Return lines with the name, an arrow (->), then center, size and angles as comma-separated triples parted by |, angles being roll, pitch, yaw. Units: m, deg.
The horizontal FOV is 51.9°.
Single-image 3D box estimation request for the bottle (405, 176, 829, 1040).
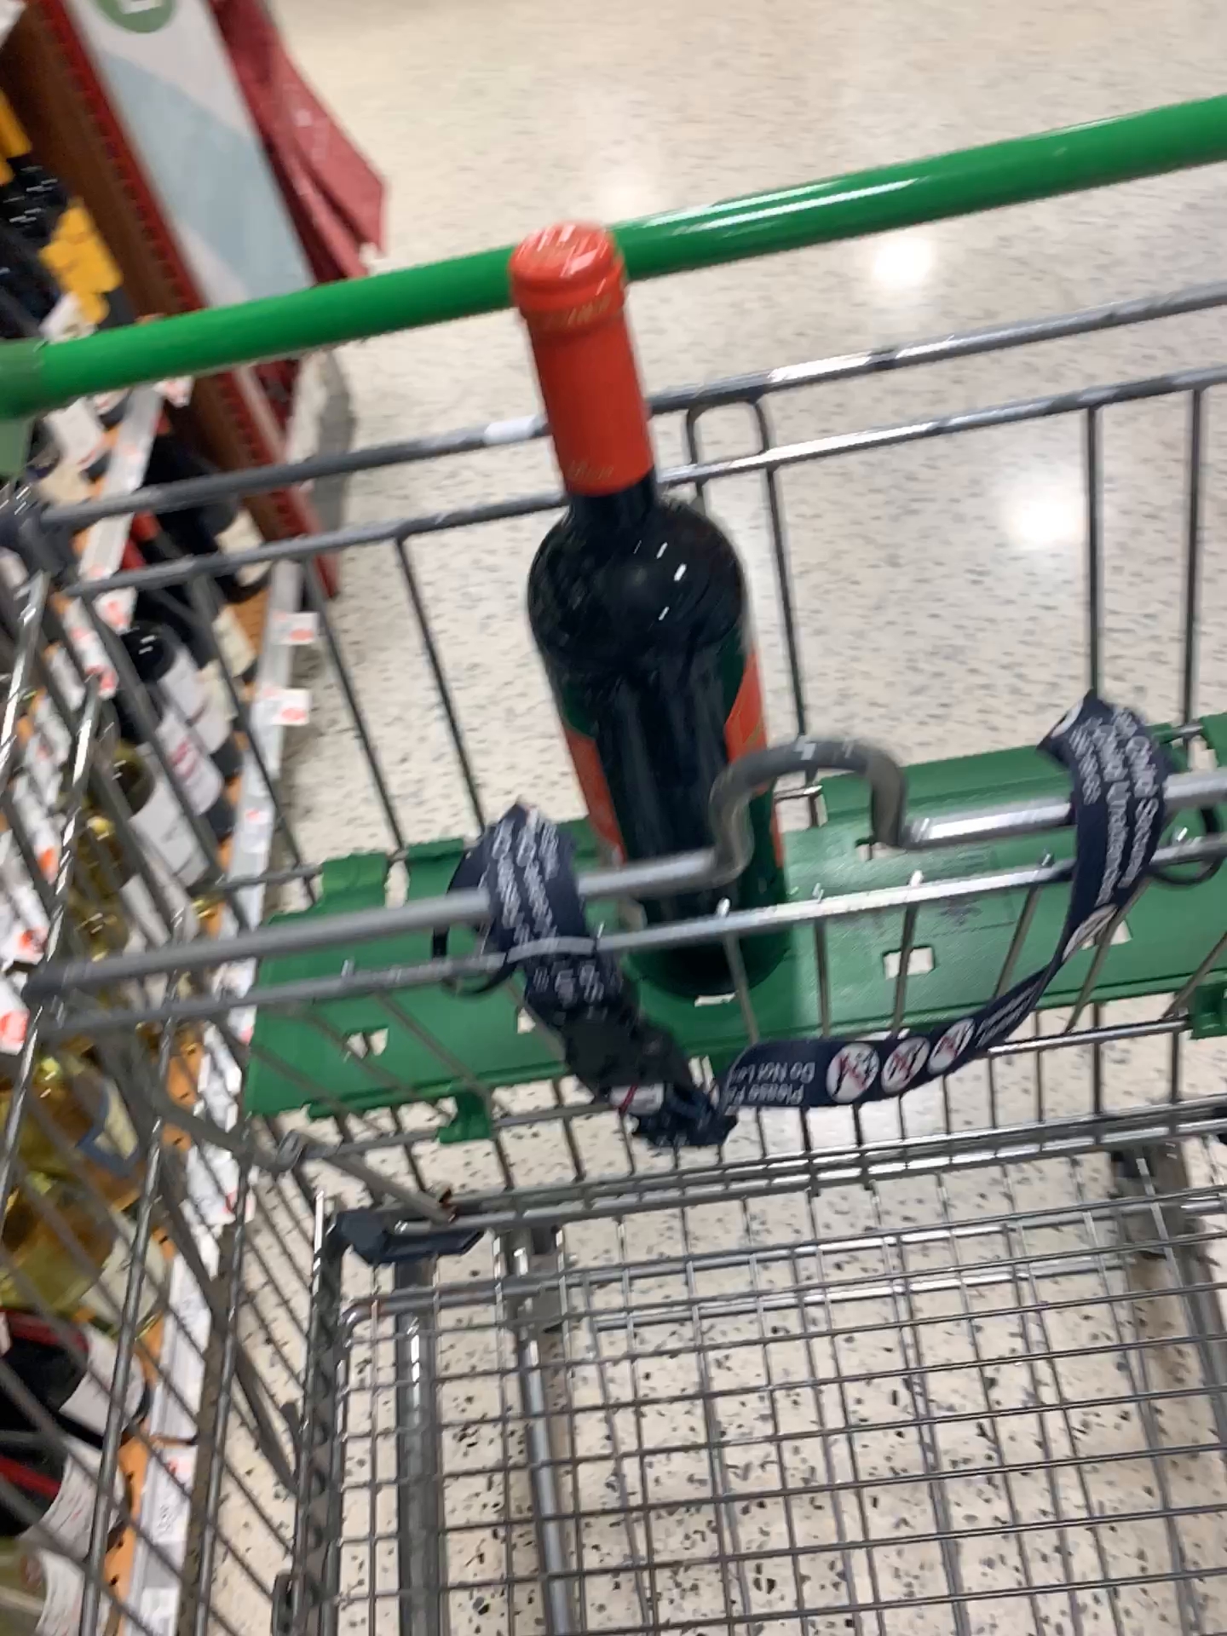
bottle -> 0.015, -0.043, 0.433 | 0.080, 0.297, 0.081 | -7, 49, 8
